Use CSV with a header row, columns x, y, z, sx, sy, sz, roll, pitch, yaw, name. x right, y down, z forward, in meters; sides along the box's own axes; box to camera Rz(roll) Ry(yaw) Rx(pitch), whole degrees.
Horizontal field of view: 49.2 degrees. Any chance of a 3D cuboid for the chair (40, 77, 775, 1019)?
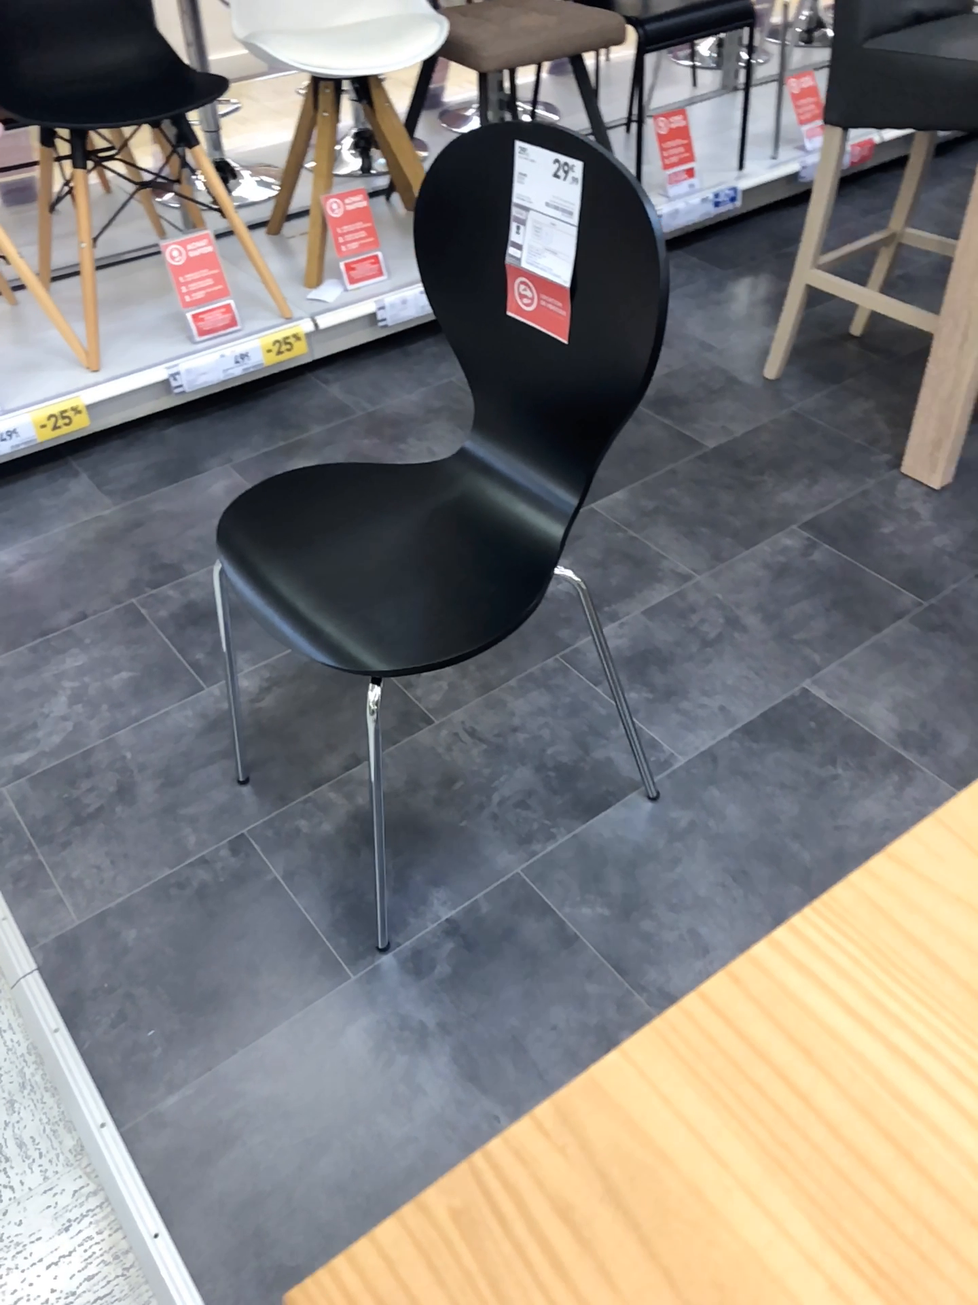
x,y,z,sx,sy,sz,roll,pitch,yaw,name
-0.074,-0.113,1.296,0.502,0.895,0.491,-29,47,-27,chair
